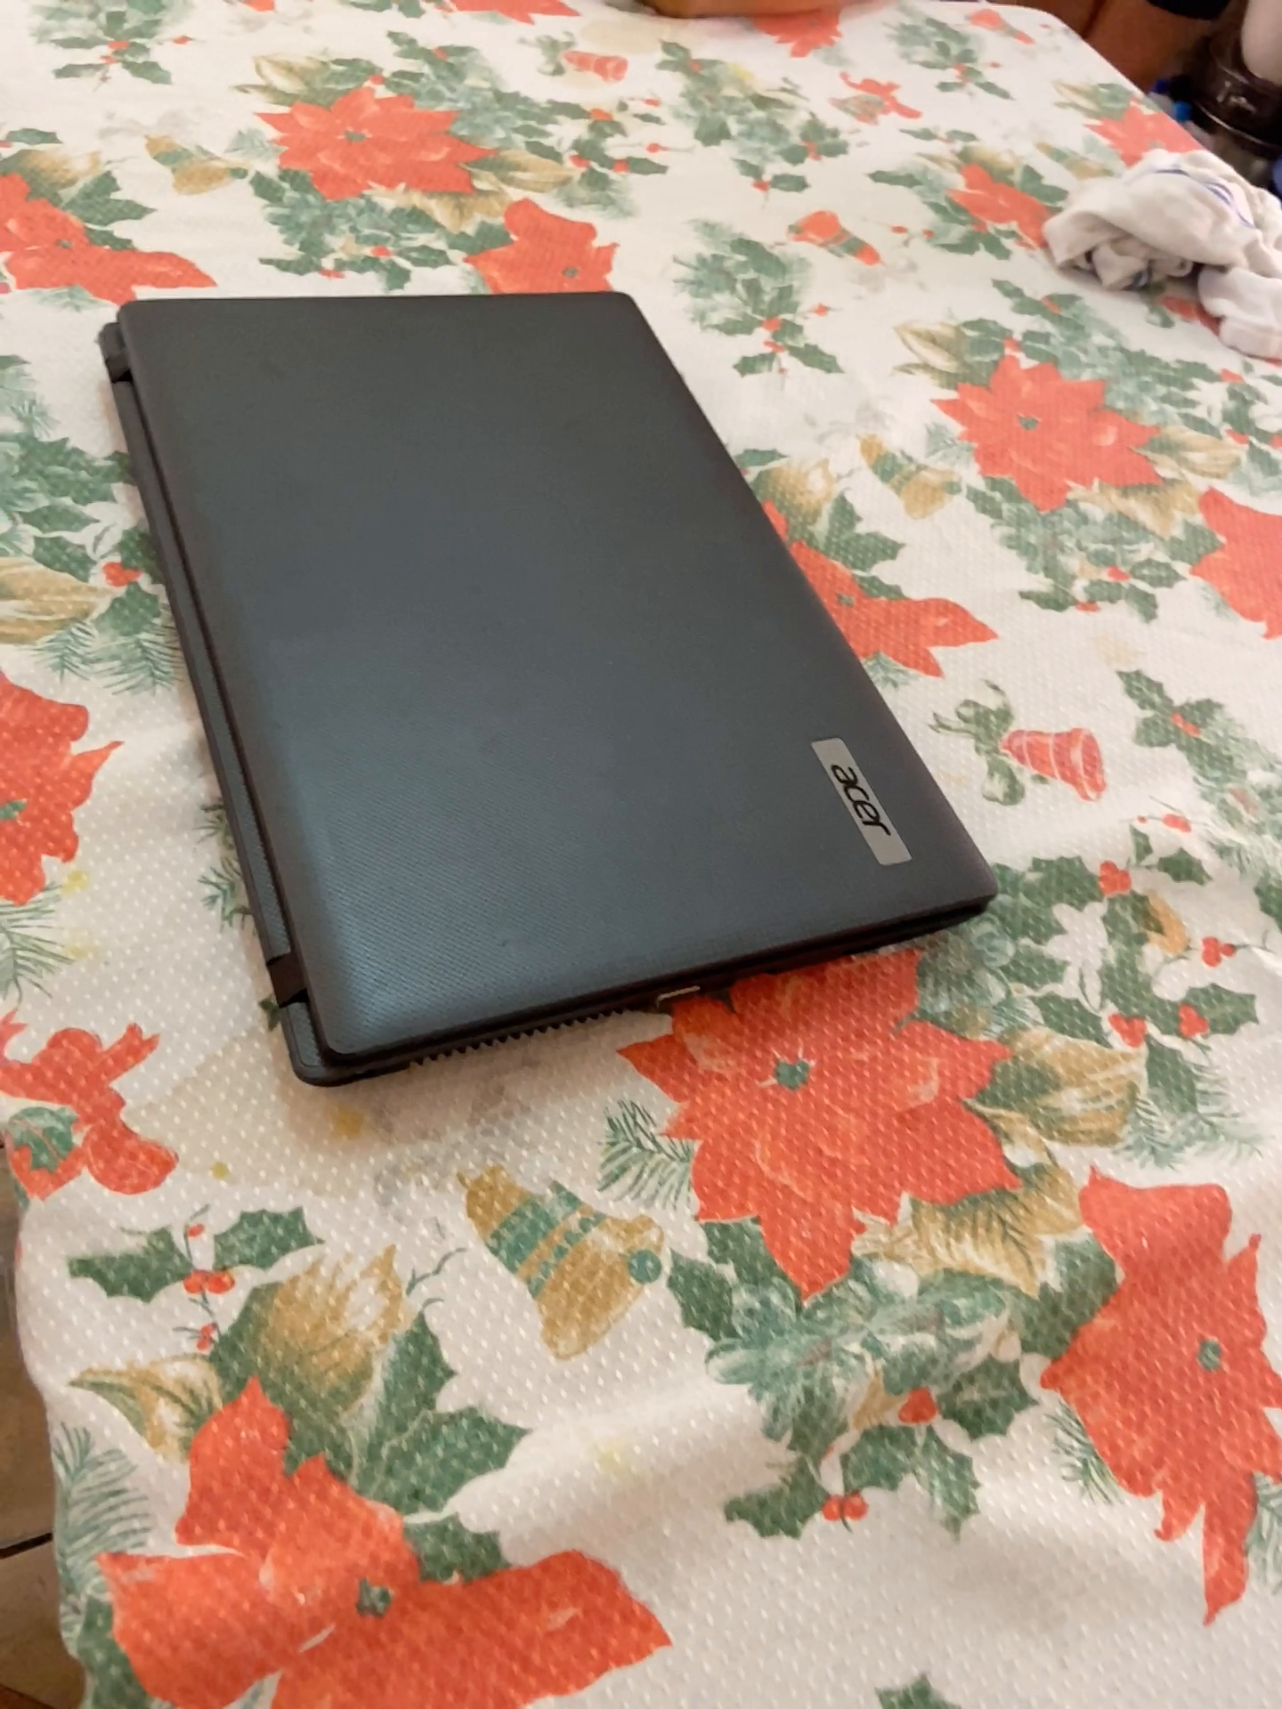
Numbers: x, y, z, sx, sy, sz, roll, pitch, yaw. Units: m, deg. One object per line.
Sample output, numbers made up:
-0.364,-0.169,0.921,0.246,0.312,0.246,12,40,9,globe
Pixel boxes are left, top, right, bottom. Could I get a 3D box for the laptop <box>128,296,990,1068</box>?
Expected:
-0.046,-0.102,0.494,0.223,0.001,0.351,-12,58,-21,laptop
